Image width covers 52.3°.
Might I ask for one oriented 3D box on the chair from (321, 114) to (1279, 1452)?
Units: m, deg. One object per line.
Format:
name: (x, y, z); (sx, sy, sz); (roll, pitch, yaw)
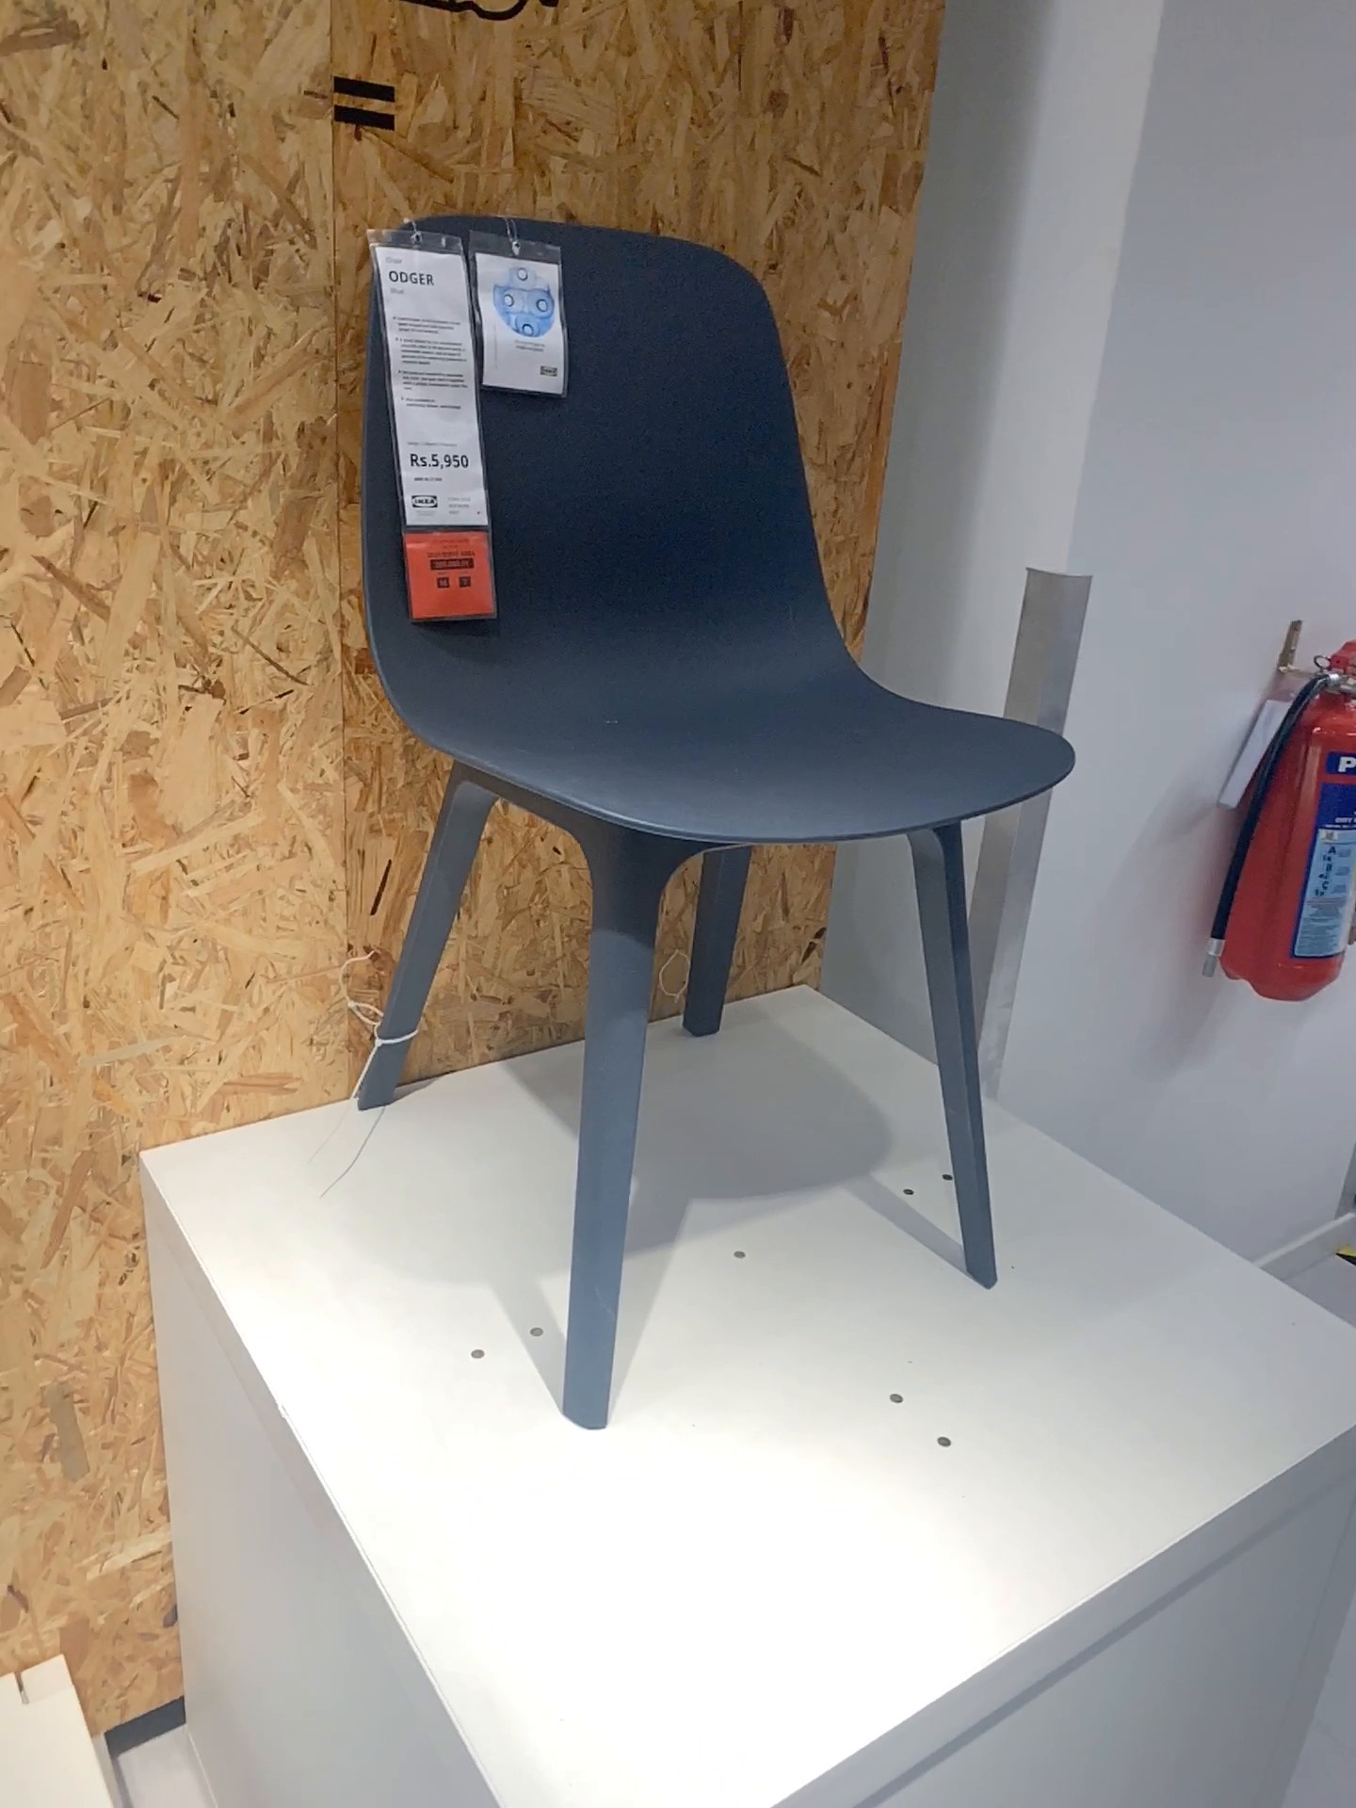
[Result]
chair: (0.022, -0.117, 1.061); (0.430, 0.767, 0.501); (-9, 25, -29)
